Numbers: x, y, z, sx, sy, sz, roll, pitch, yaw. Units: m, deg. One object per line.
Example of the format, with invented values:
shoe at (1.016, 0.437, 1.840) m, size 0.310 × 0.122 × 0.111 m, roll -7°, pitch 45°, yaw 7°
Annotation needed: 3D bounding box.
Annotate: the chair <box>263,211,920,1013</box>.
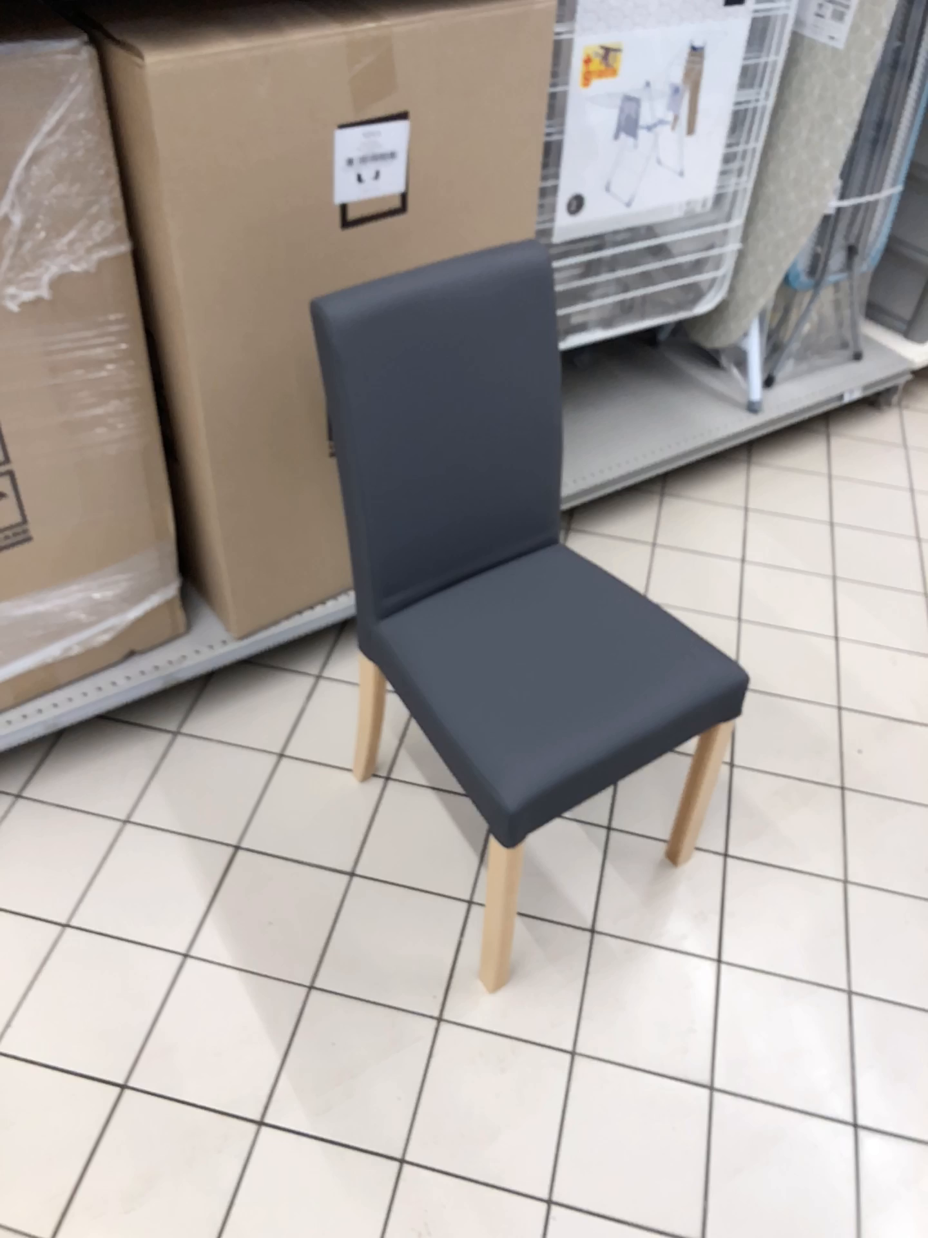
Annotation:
chair at (0.107, -0.004, 1.417) m, size 0.472 × 0.825 × 0.571 m, roll -24°, pitch 50°, yaw -26°
